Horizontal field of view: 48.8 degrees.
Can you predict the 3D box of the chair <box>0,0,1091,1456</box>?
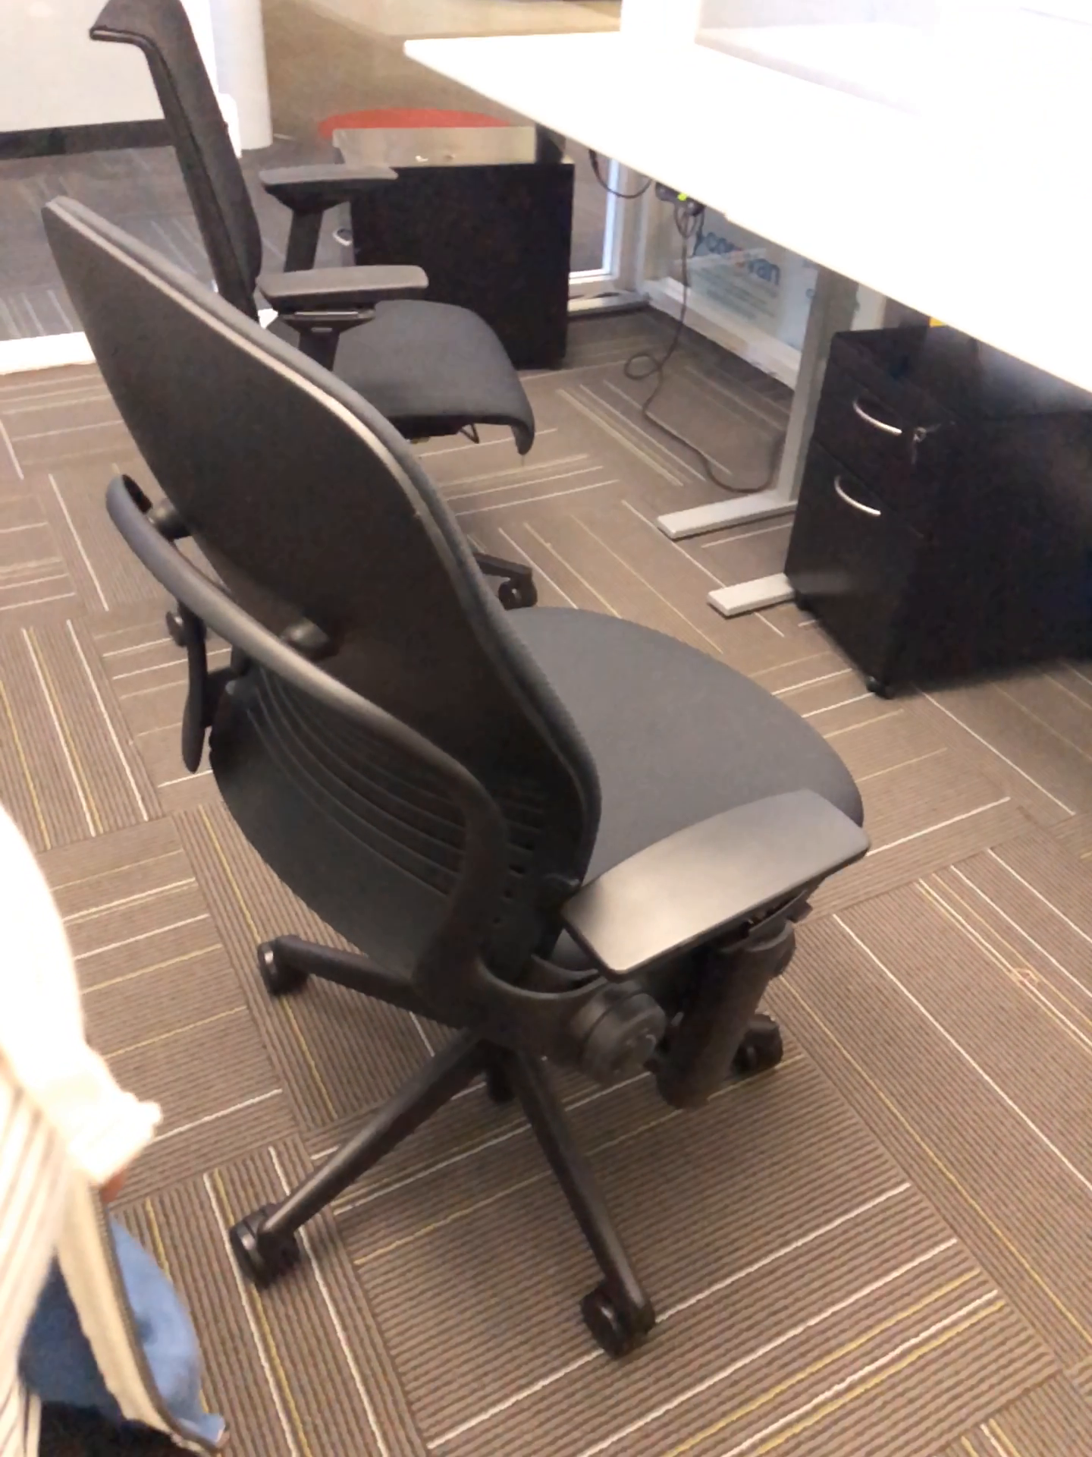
[{"bbox_3d":[-0.010,-0.037,1.165,0.832,1.035,0.732,-25,46,-32],"label":"chair"}]
